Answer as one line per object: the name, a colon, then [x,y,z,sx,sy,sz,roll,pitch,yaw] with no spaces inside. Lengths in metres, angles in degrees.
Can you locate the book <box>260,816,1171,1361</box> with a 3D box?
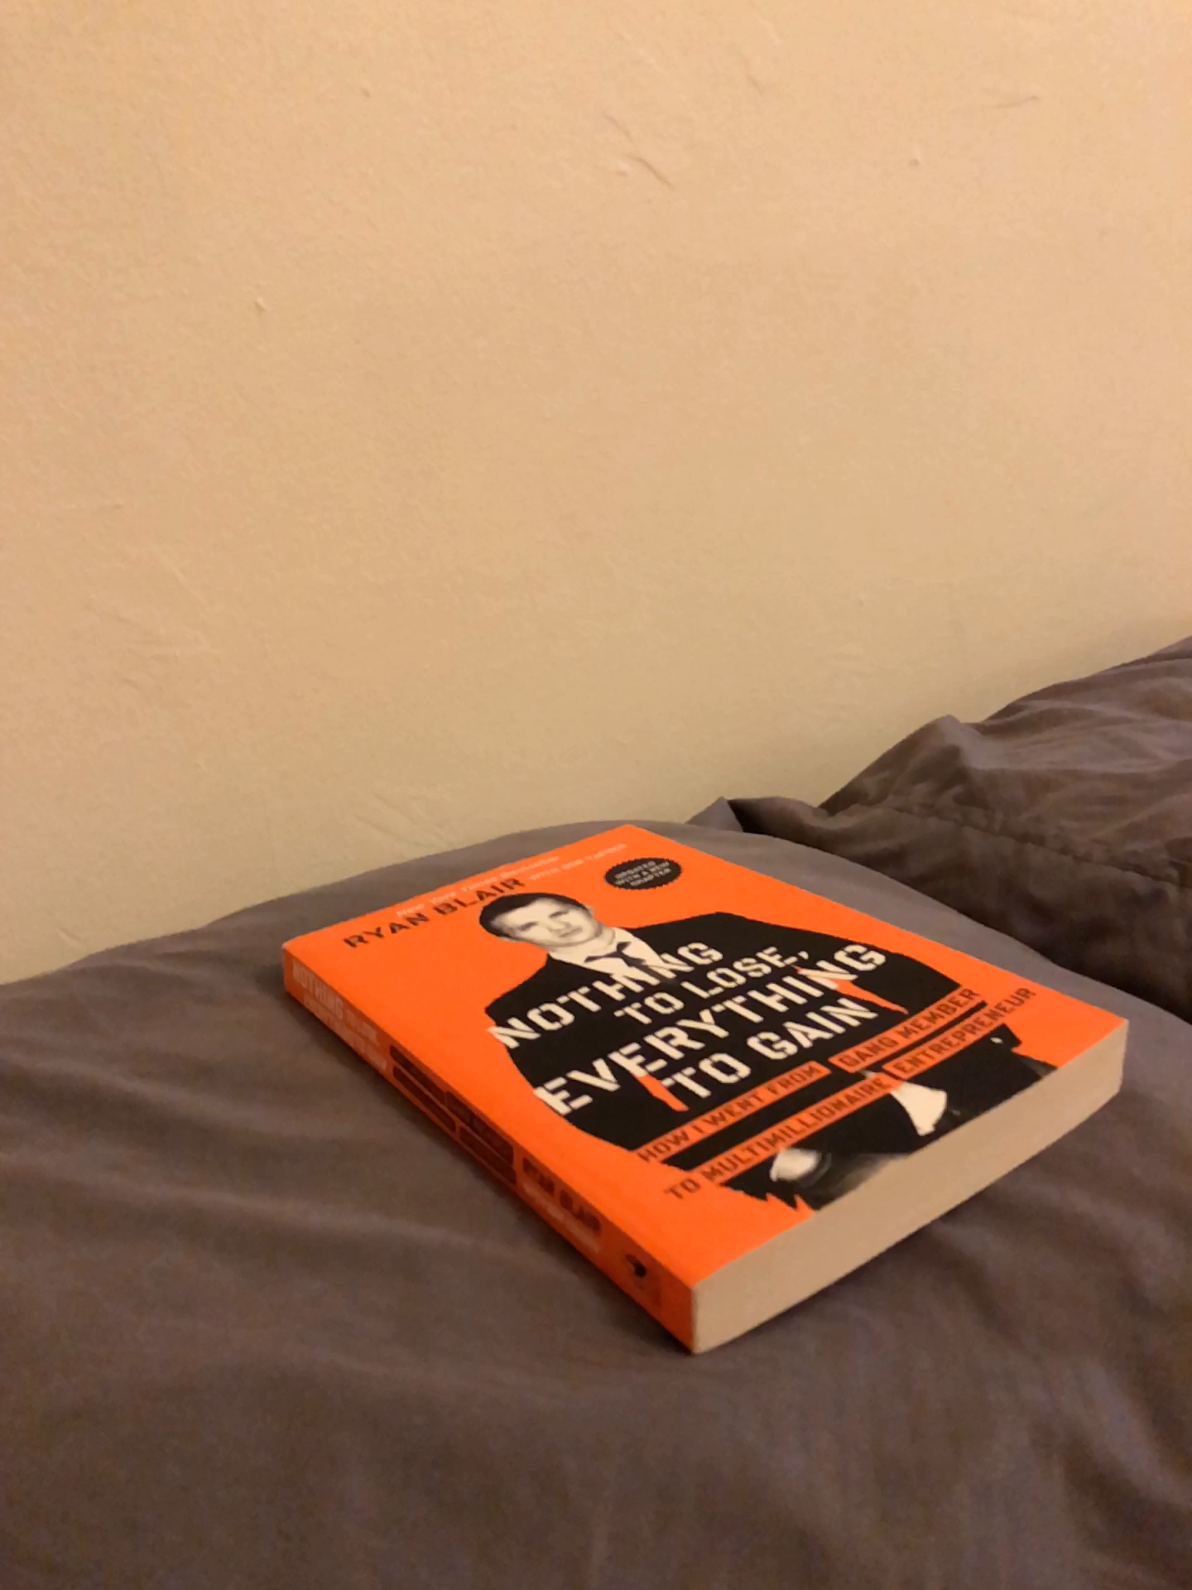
book: [0.017,0.059,0.382,0.150,0.020,0.231,-14,21,-32]
